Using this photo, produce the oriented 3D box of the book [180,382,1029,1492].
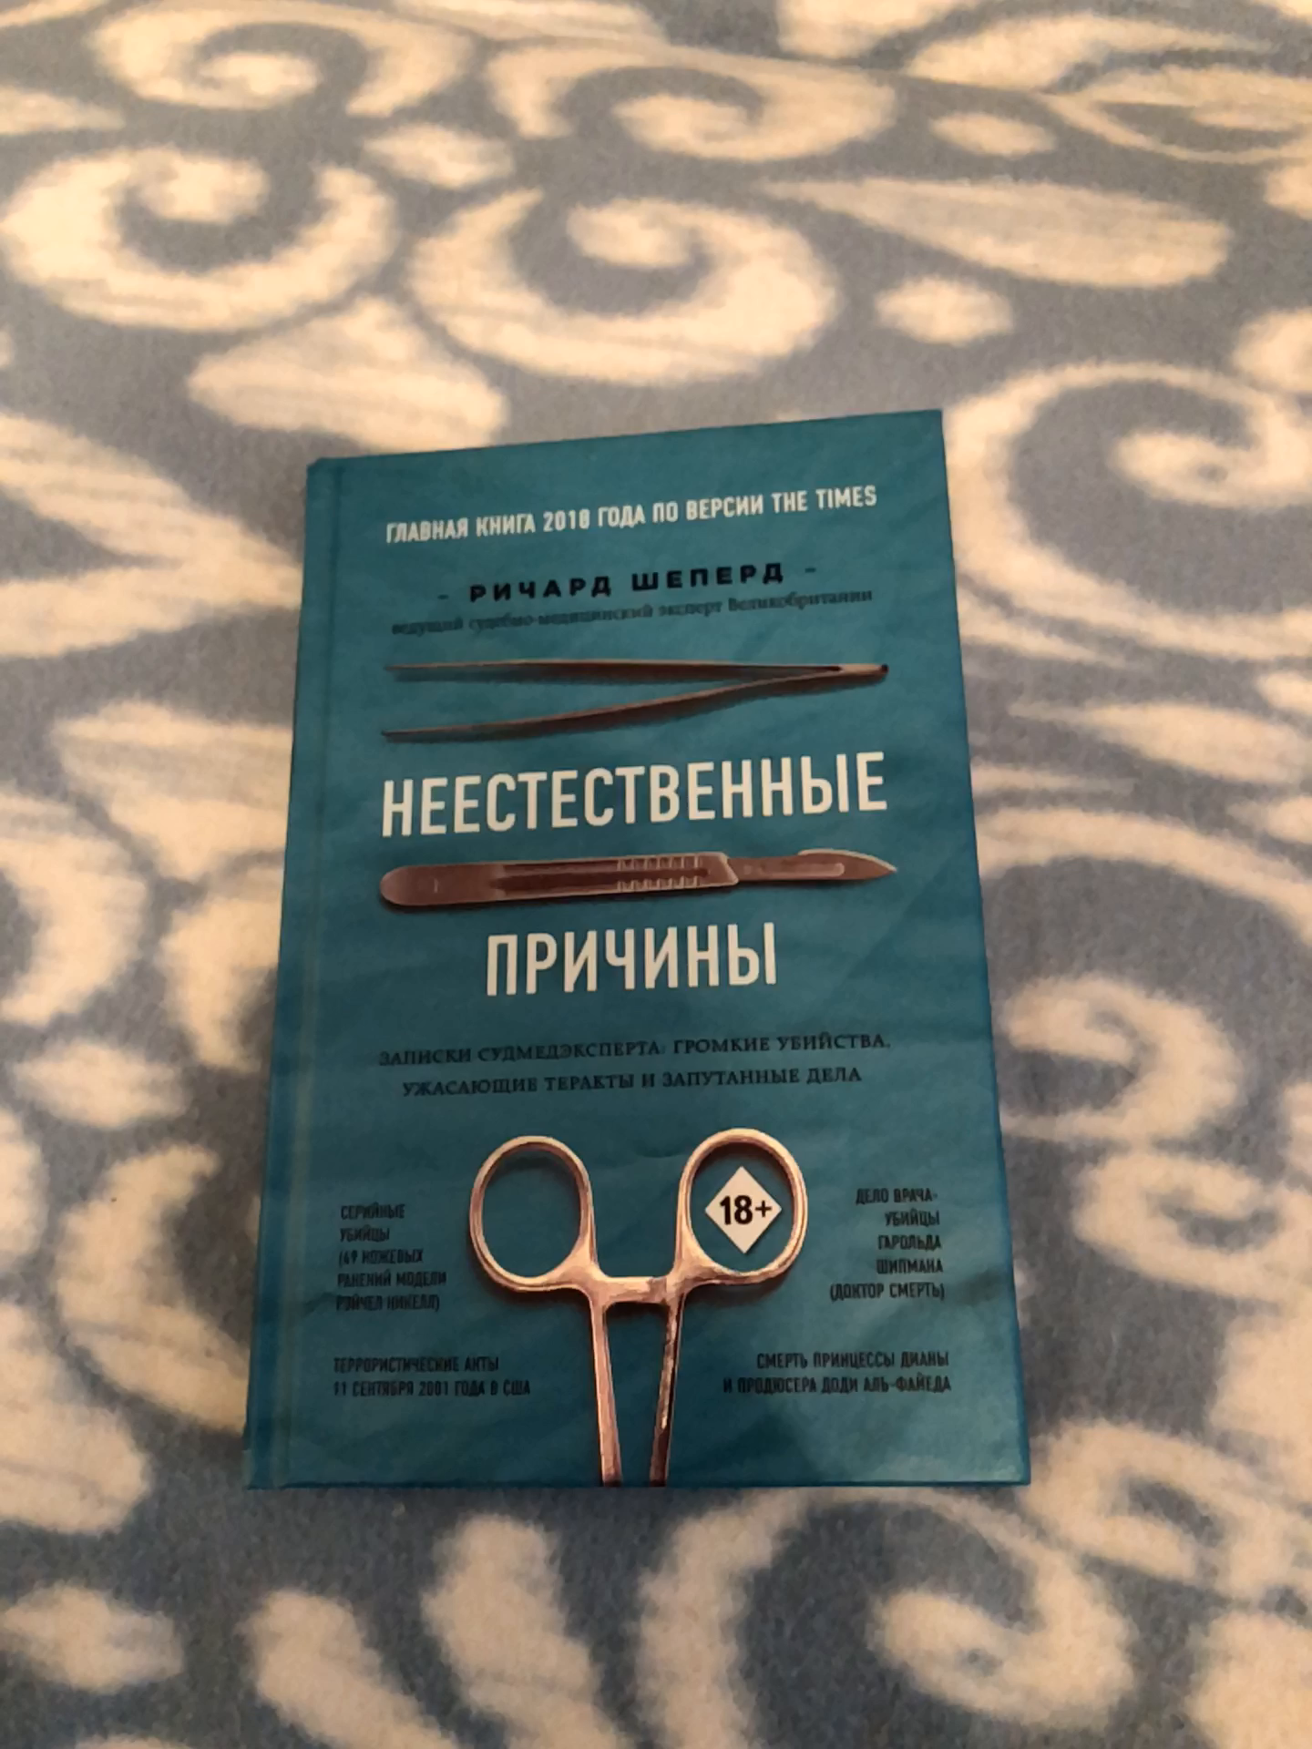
[{"bbox_3d":[-0.011,0.006,0.297,0.149,0.025,0.218,-2,73,6],"label":"book"}]
